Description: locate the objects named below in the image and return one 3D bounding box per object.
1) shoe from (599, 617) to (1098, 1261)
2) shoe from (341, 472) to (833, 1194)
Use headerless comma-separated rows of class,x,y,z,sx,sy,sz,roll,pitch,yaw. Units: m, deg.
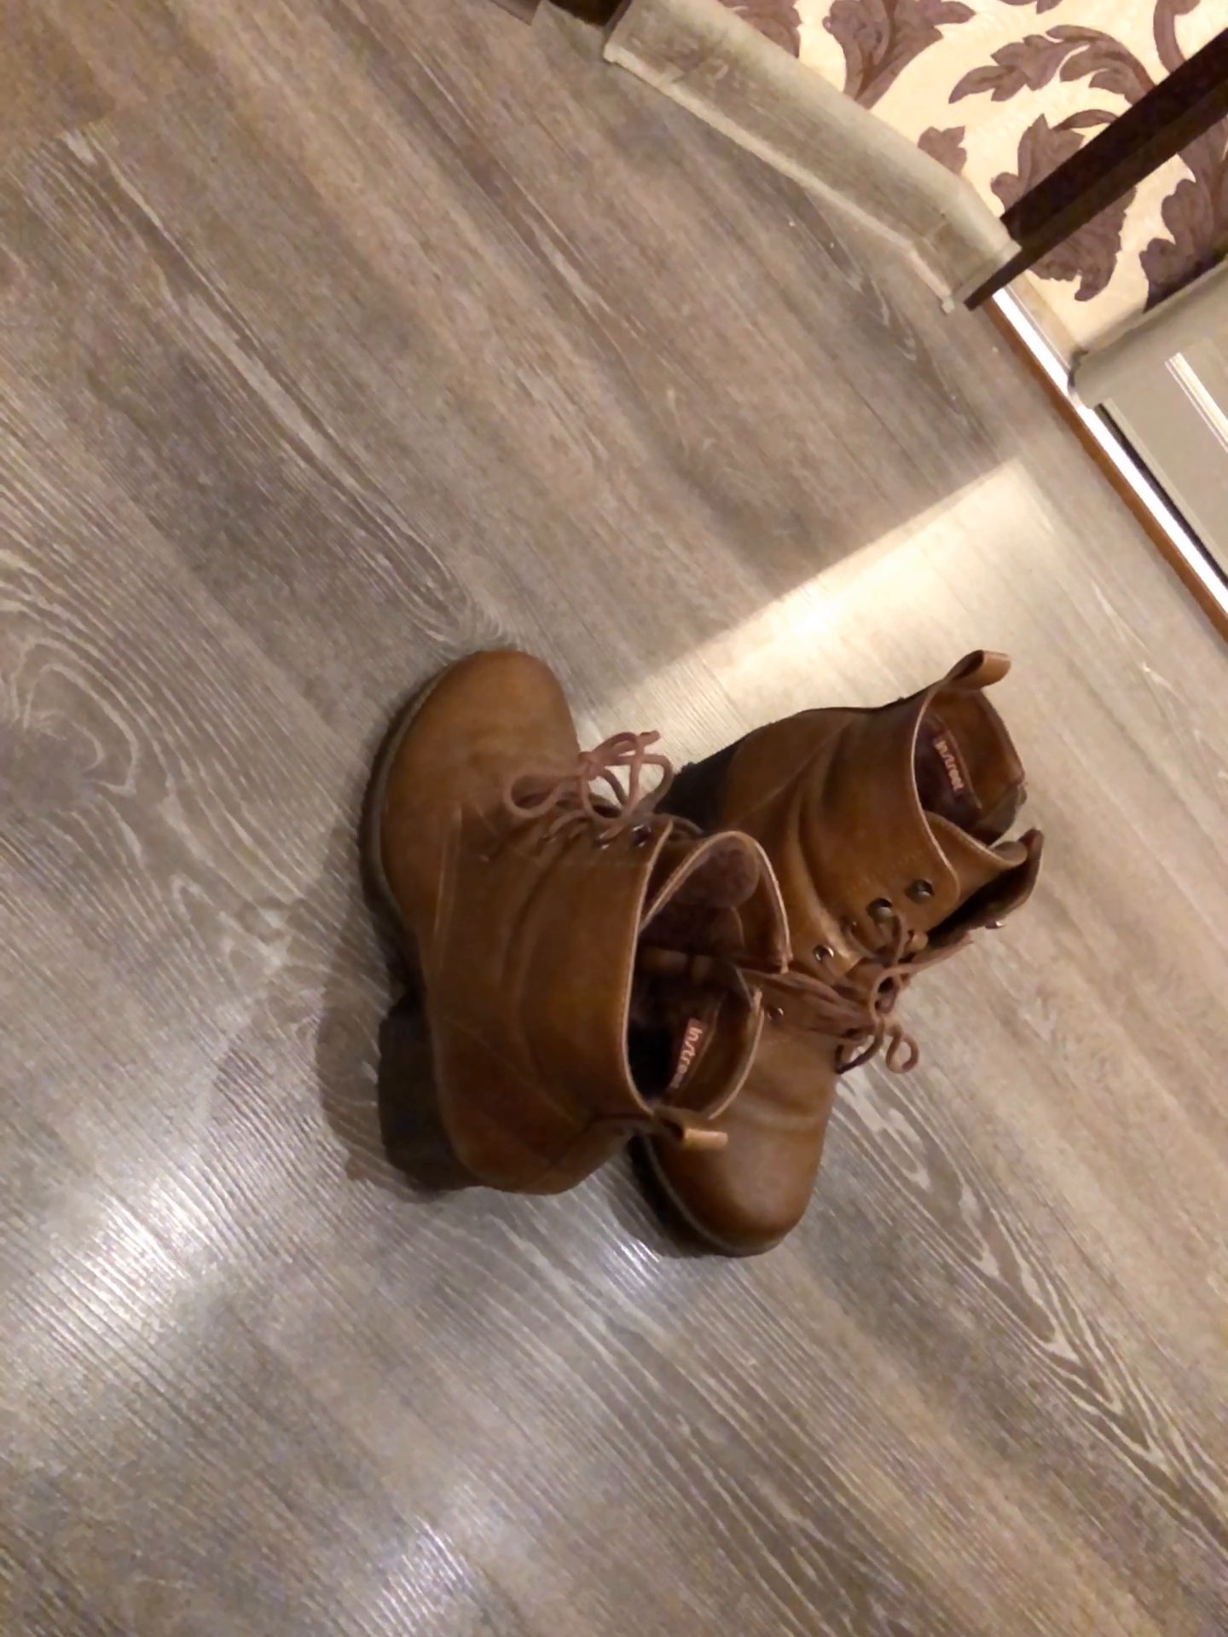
shoe,0.090,0.064,0.563,0.090,0.189,0.221,17,66,-27
shoe,-0.018,0.021,0.504,0.100,0.169,0.220,10,69,-29
